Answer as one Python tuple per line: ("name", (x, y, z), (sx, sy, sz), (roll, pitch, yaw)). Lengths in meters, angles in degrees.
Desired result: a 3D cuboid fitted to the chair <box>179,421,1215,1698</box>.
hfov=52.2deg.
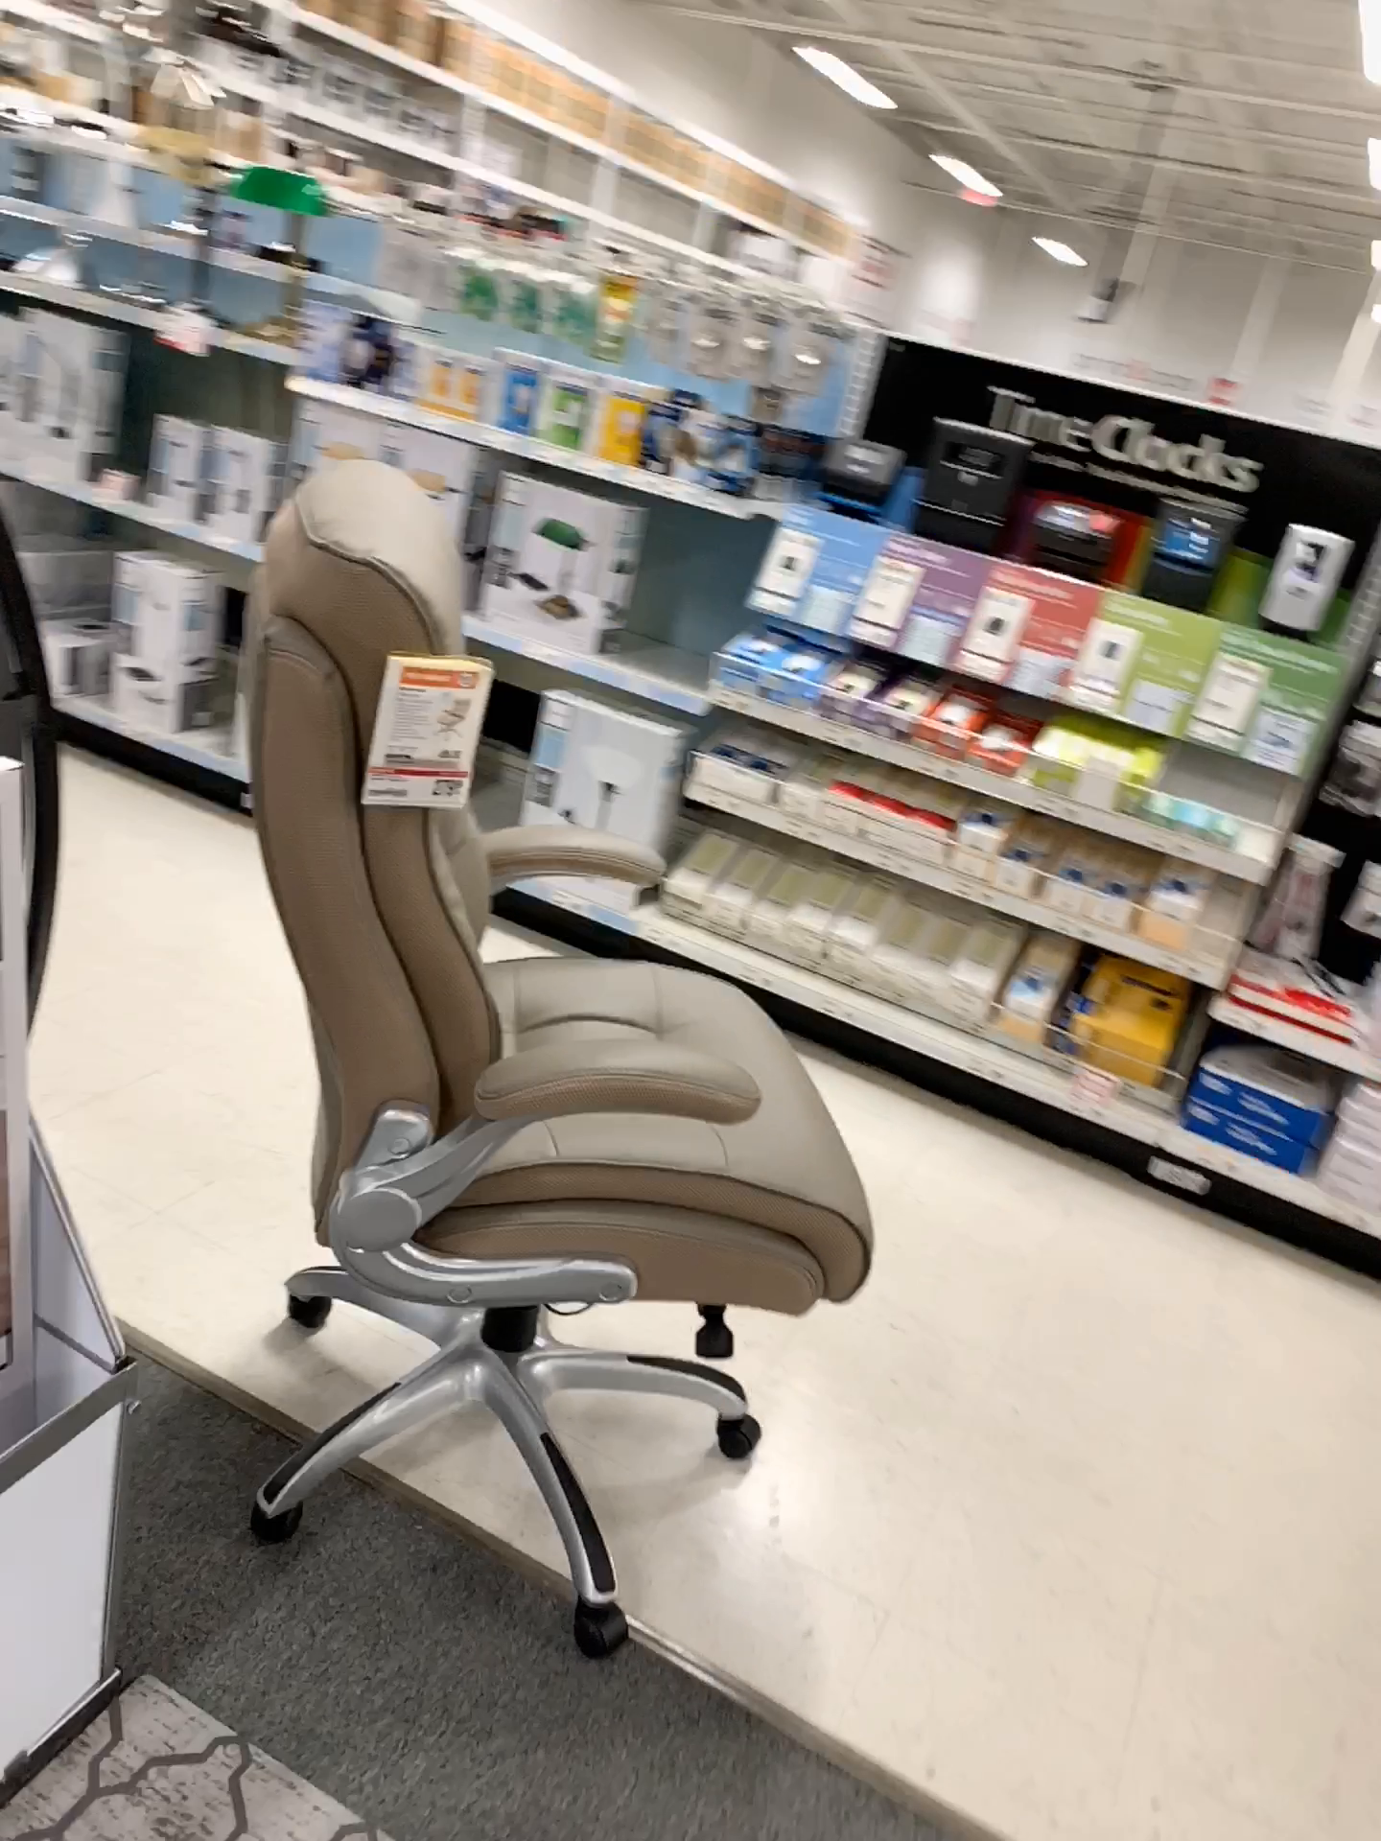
("chair", (-0.104, 0.140, 1.590), (0.721, 1.145, 0.713), (7, 22, -16))
